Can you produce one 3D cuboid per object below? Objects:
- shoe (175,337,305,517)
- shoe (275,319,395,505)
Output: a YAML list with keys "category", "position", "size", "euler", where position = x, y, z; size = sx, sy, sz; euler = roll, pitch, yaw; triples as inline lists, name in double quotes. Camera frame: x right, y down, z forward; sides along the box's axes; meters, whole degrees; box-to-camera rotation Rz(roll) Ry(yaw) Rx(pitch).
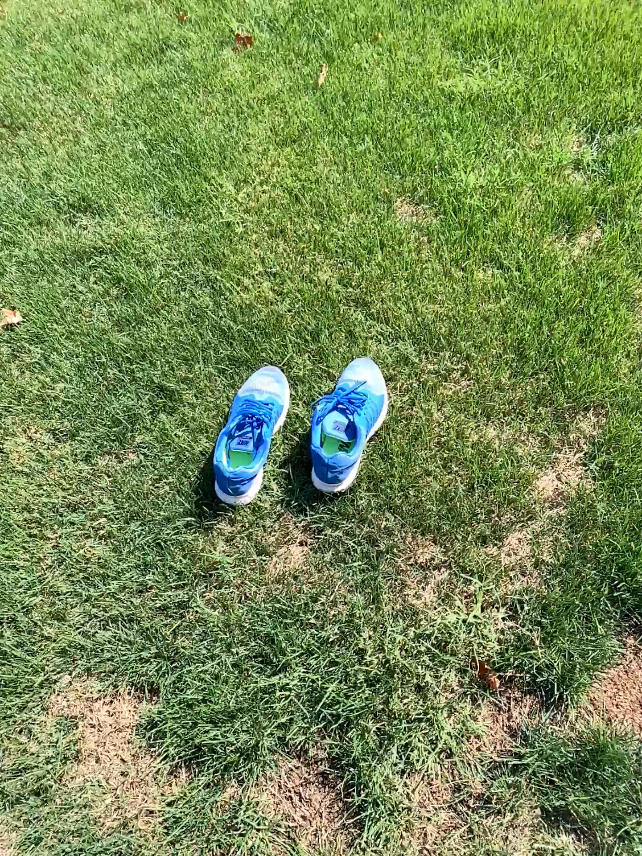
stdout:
- category: "shoe"
  position: [-0.137, -0.006, 1.193]
  size: [0.120, 0.120, 0.290]
  euler: [12, 62, 14]
- category: "shoe"
  position: [0.035, -0.032, 1.192]
  size: [0.130, 0.140, 0.290]
  euler: [12, 62, 14]
